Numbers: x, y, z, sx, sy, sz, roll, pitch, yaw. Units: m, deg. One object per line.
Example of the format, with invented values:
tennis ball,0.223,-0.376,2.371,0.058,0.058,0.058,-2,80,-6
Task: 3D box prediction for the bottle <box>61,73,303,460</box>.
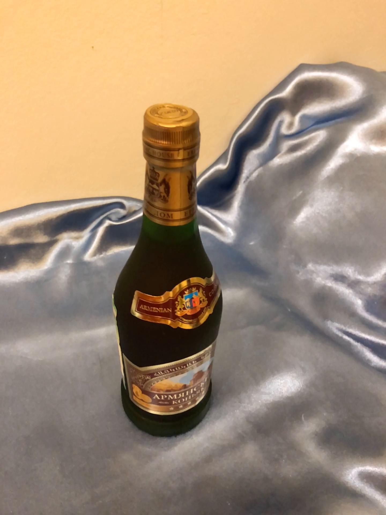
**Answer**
bottle,-0.012,0.027,0.273,0.080,0.247,0.074,2,44,-2
